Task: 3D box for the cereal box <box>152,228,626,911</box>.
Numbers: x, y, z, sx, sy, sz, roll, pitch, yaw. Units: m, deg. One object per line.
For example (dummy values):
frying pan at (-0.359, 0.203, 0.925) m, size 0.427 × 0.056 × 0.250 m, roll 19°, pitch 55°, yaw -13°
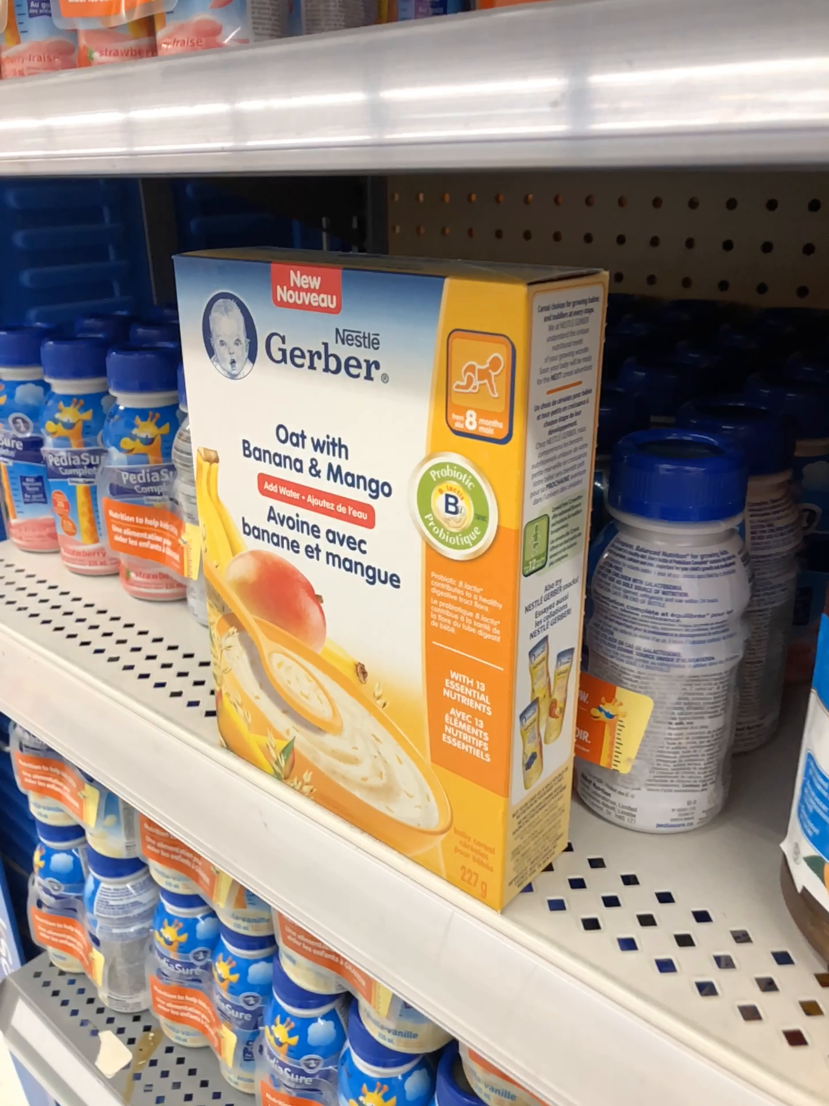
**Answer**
cereal box at (-0.015, -0.003, 0.304) m, size 0.150 × 0.189 × 0.040 m, roll 19°, pitch 29°, yaw 37°
